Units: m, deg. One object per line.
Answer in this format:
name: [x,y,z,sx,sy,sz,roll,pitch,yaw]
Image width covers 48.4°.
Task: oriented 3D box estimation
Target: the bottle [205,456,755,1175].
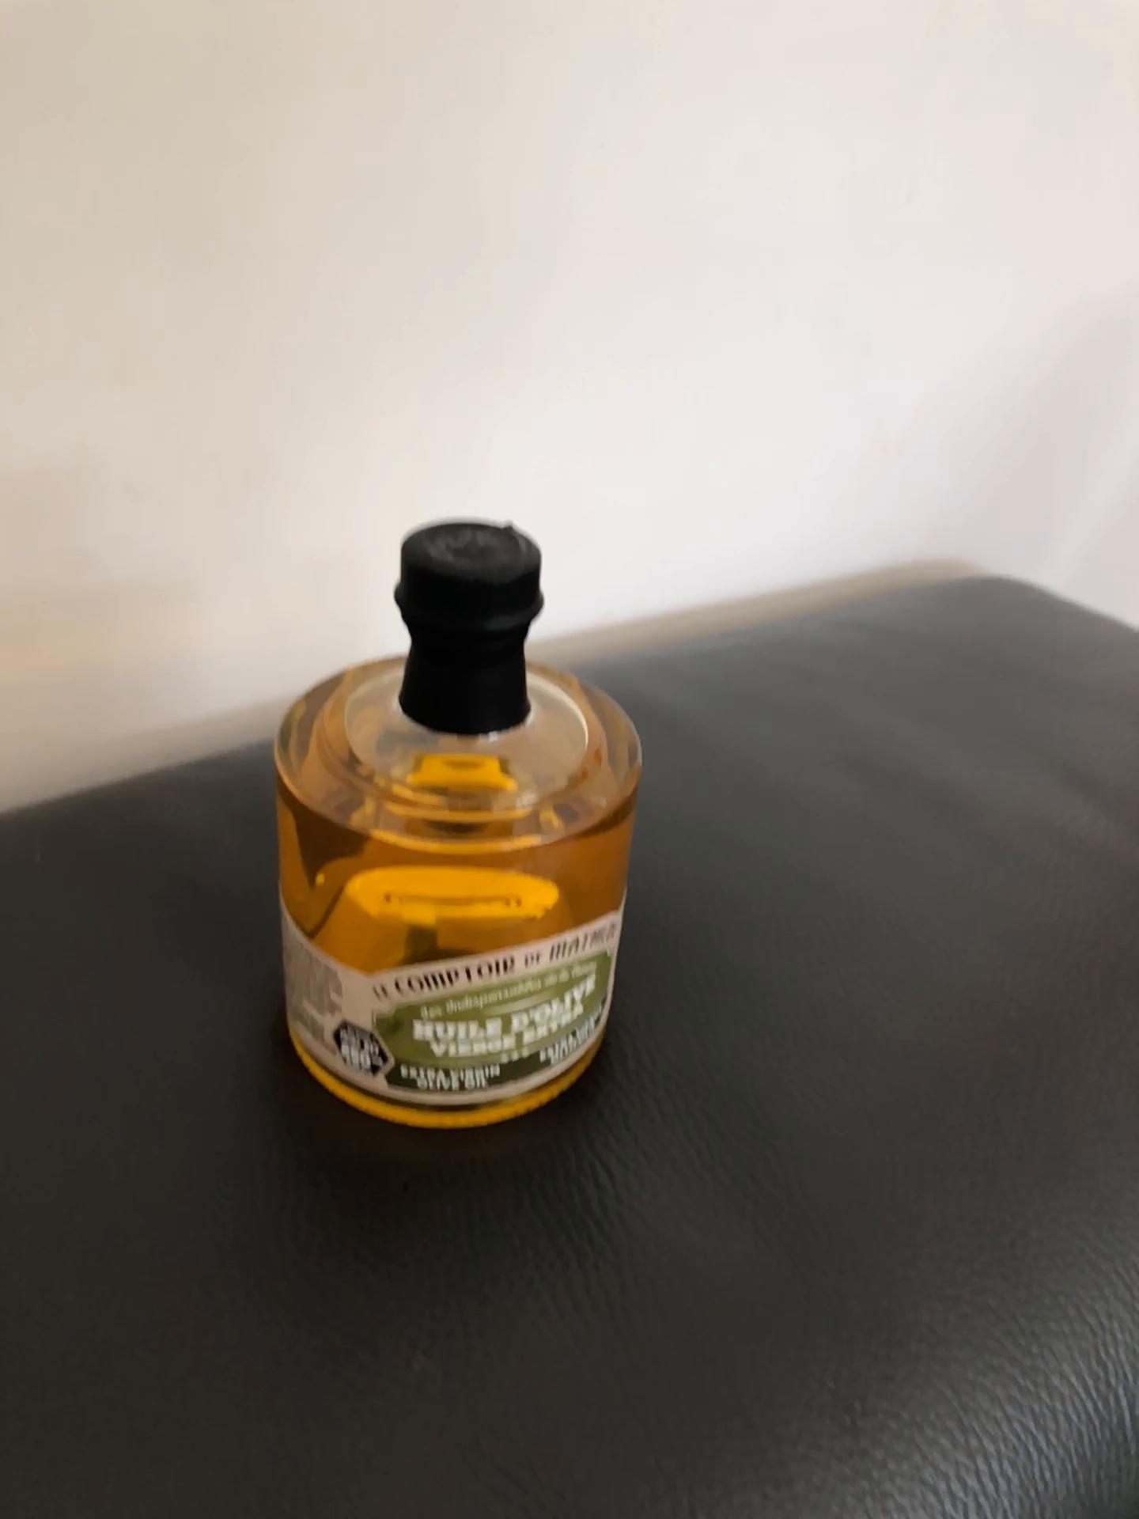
bottle: [-0.029,0.008,0.299,0.090,0.129,0.090,5,31,-3]
